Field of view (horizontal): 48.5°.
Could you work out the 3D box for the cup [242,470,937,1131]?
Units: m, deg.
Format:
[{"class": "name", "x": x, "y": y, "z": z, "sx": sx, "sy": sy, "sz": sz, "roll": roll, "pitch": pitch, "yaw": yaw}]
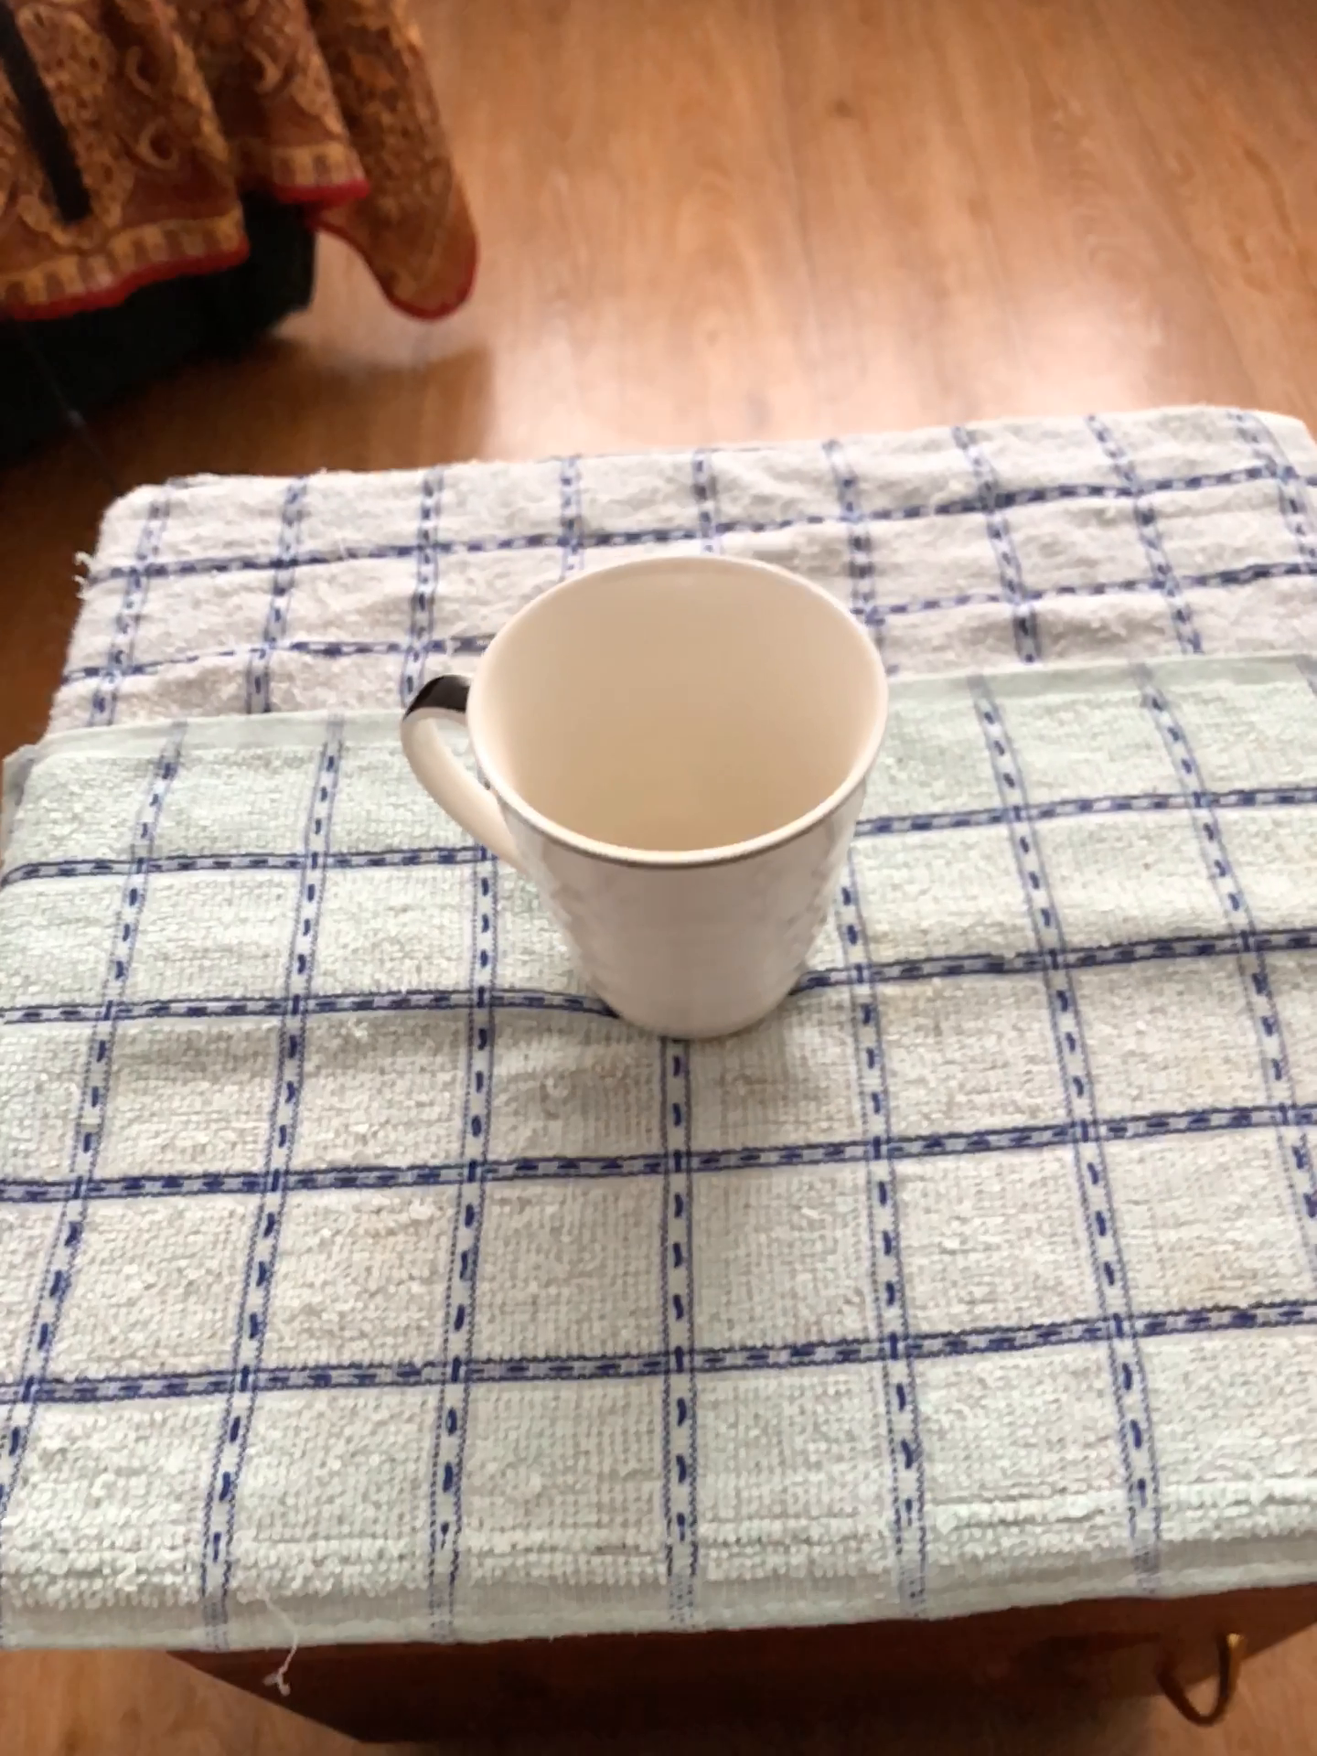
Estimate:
[{"class": "cup", "x": -0.011, "y": -0.020, "z": 0.352, "sx": 0.123, "sy": 0.090, "sz": 0.091, "roll": 20, "pitch": 58, "yaw": 17}]
